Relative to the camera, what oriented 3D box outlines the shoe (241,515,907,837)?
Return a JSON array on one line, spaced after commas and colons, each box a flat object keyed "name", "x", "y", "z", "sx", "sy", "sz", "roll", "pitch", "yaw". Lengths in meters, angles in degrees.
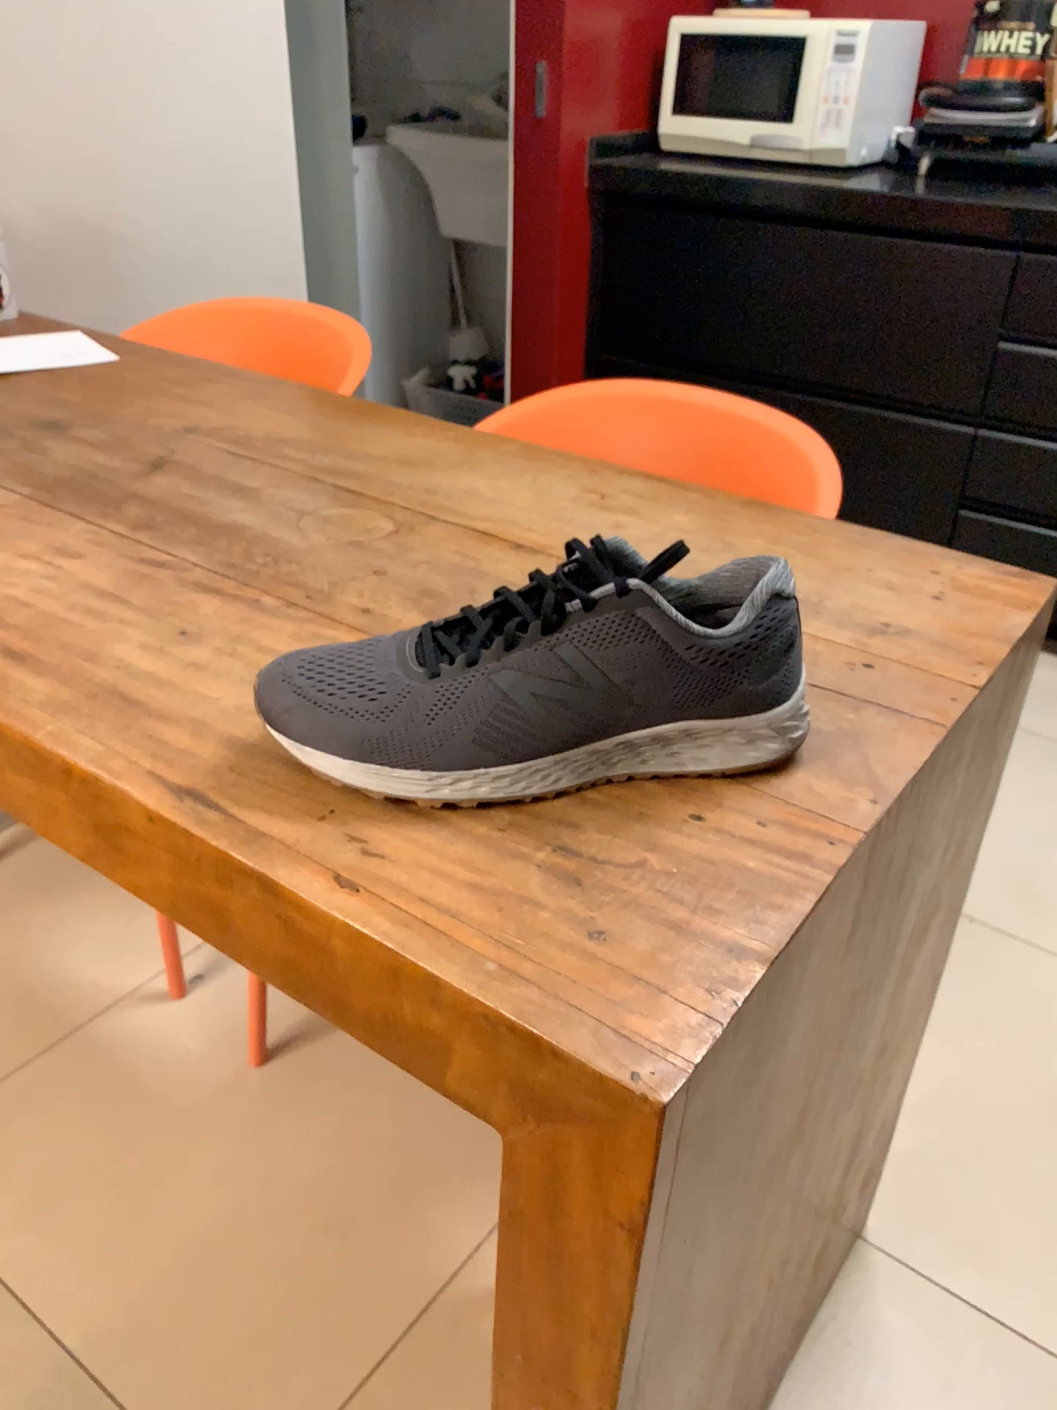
[{"name": "shoe", "x": 0.017, "y": -0.020, "z": 0.557, "sx": 0.300, "sy": 0.109, "sz": 0.111, "roll": -3, "pitch": 32, "yaw": -8}]
